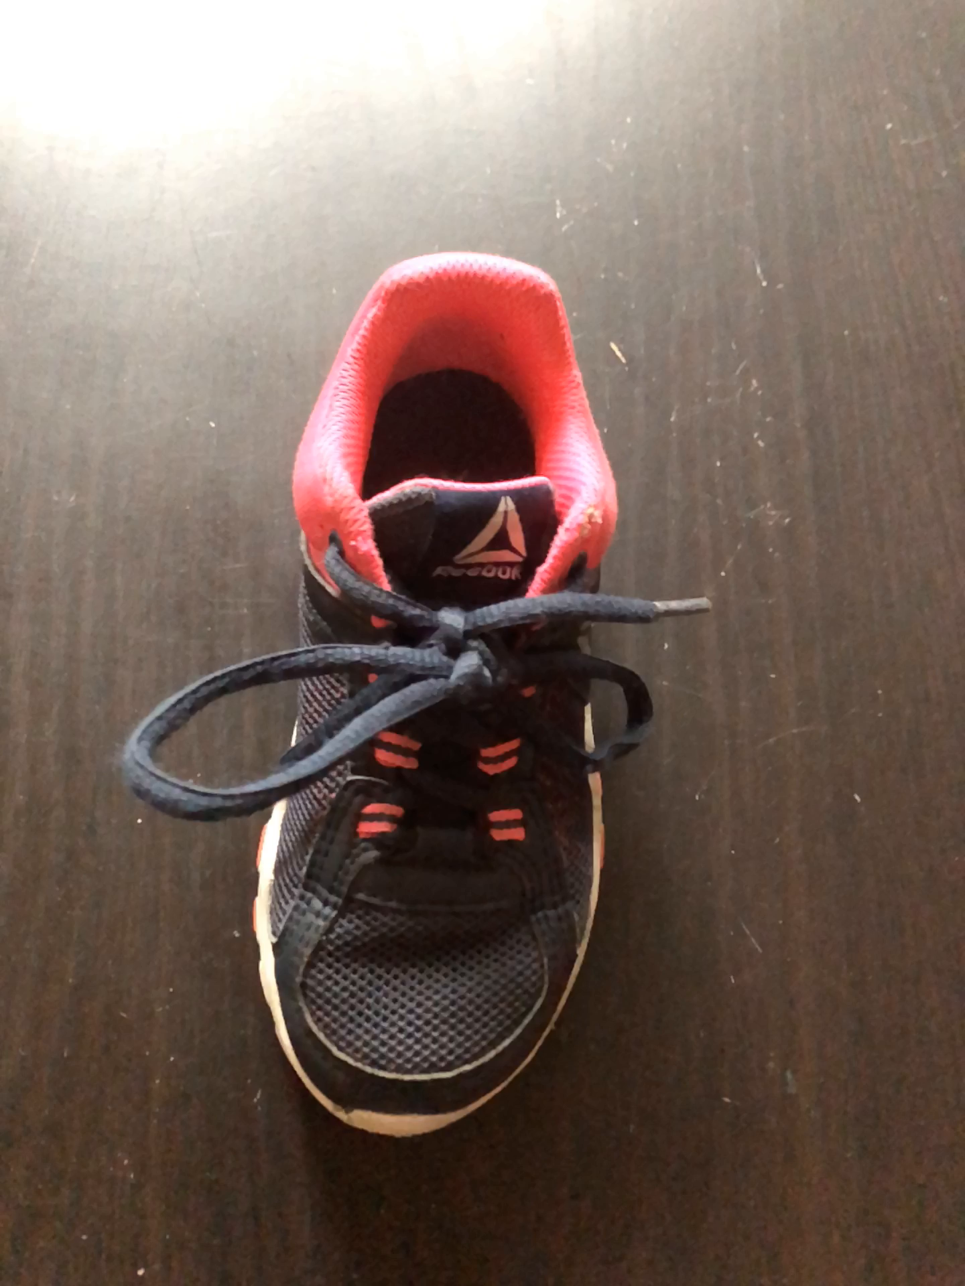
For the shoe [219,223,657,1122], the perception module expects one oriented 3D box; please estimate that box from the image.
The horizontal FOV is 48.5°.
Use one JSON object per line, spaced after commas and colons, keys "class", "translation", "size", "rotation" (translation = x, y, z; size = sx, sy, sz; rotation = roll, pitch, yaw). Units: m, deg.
{"class": "shoe", "translation": [-0.010, 0.006, 0.258], "size": [0.080, 0.070, 0.193], "rotation": [3, 72, -7]}
